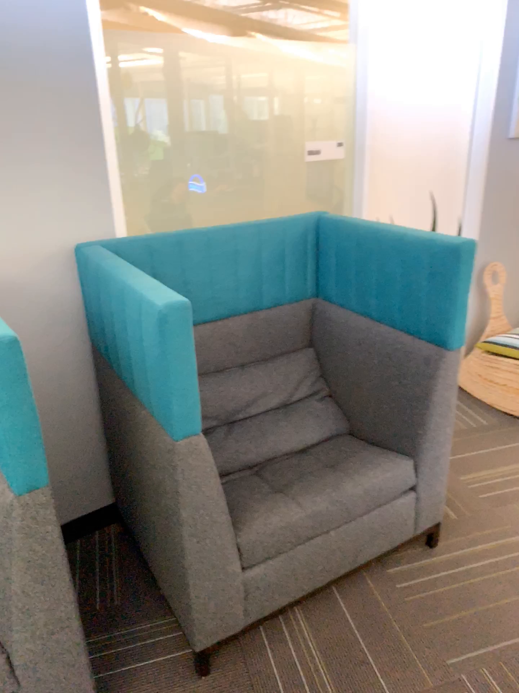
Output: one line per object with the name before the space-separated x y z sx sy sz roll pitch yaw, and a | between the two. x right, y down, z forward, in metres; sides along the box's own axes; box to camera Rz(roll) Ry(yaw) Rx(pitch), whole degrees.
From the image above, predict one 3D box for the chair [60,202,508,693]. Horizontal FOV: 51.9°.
chair | 0.031 0.200 1.940 1.051 1.214 1.015 -15 26 -28
